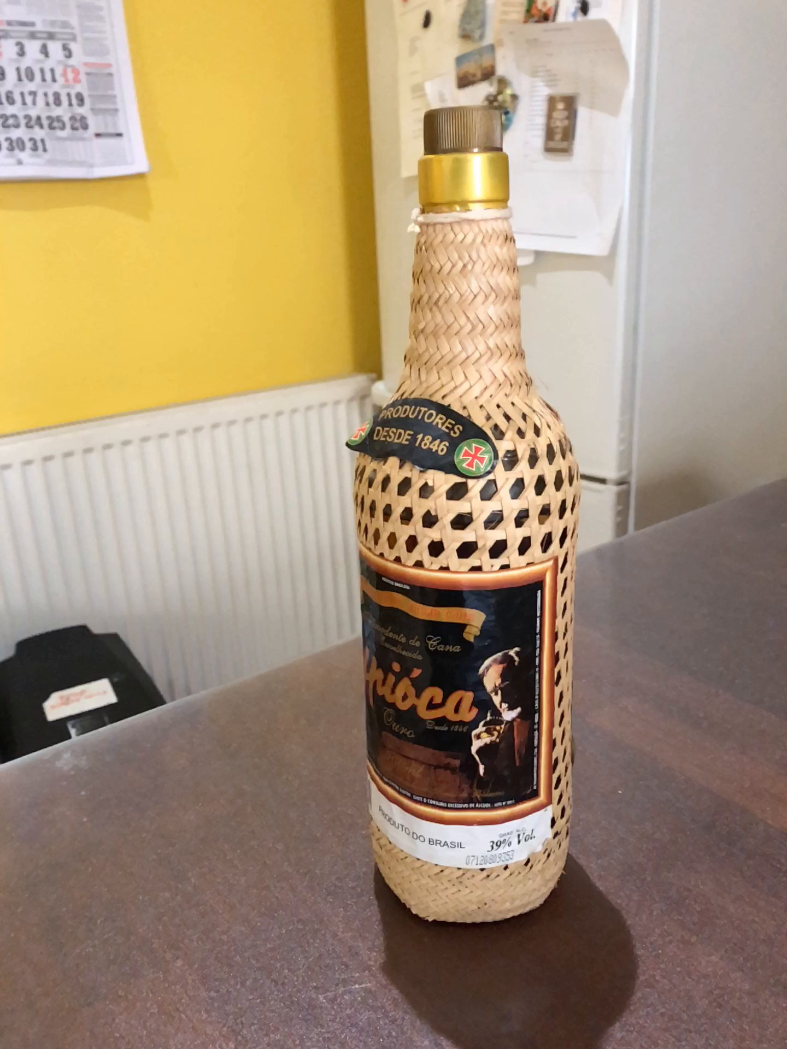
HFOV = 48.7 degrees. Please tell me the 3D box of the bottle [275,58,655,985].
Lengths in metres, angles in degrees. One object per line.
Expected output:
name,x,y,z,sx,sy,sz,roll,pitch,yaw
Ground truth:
bottle,0.035,0.005,0.355,0.100,0.328,0.090,10,23,35
